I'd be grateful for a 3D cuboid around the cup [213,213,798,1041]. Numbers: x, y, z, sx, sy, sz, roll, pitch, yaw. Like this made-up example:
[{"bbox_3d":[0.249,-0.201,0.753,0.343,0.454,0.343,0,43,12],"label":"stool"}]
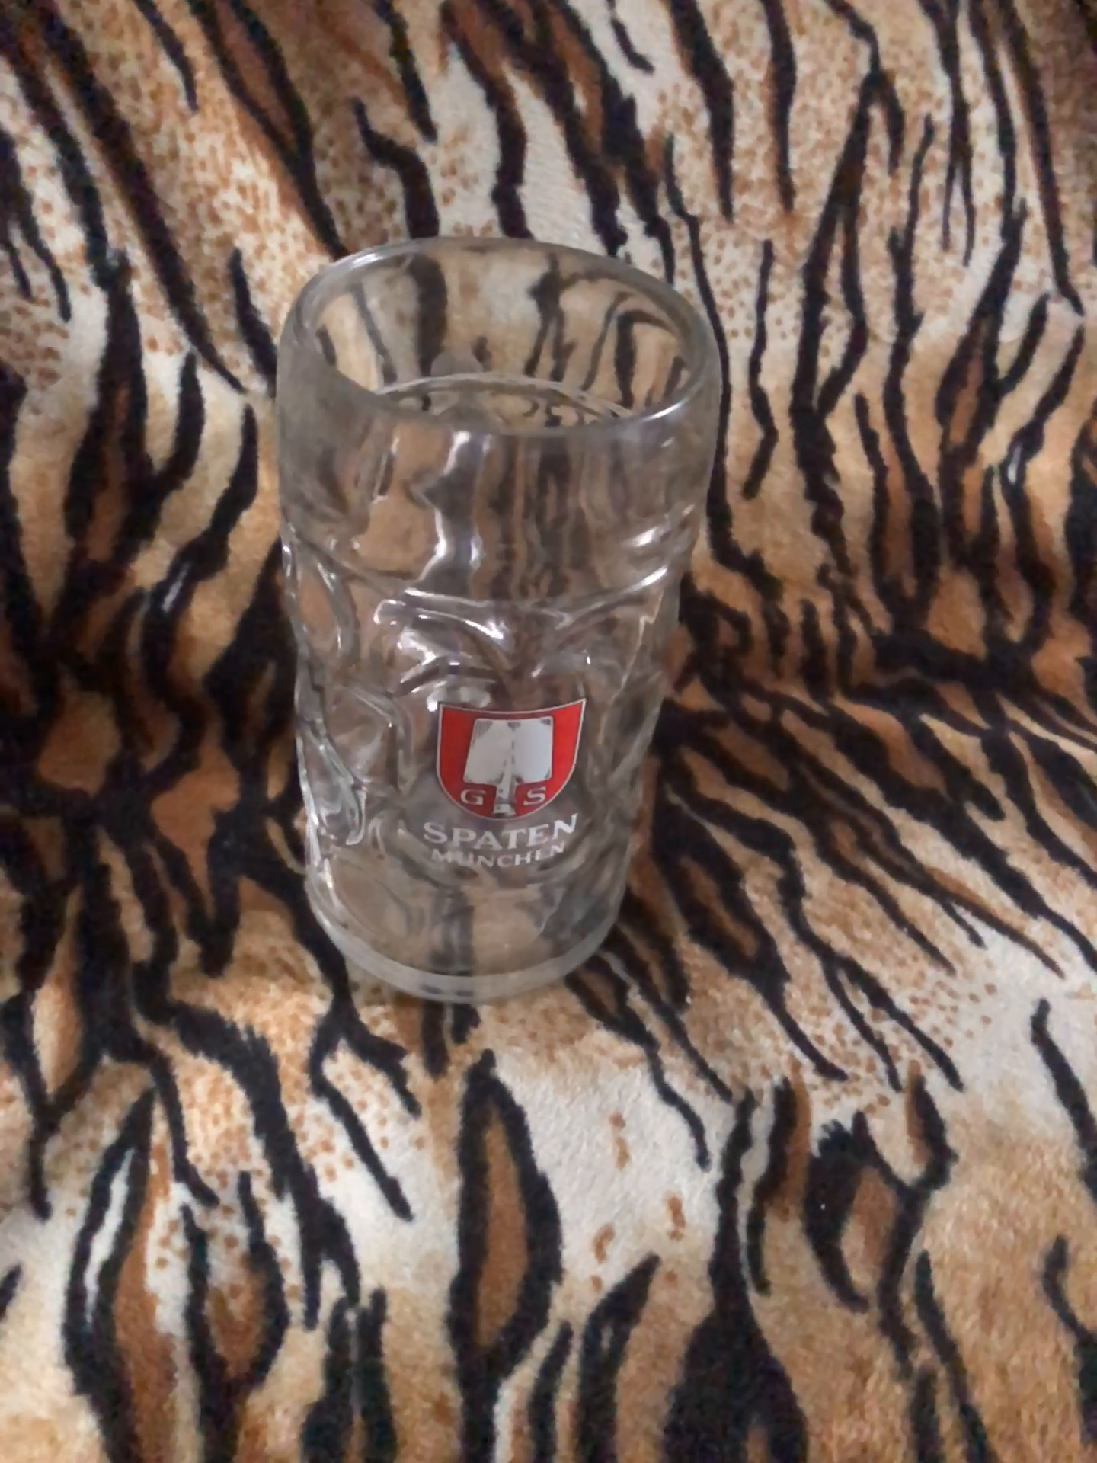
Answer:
[{"bbox_3d":[-0.019,-0.032,0.368,0.120,0.194,0.150,-3,40,-6],"label":"cup"}]
